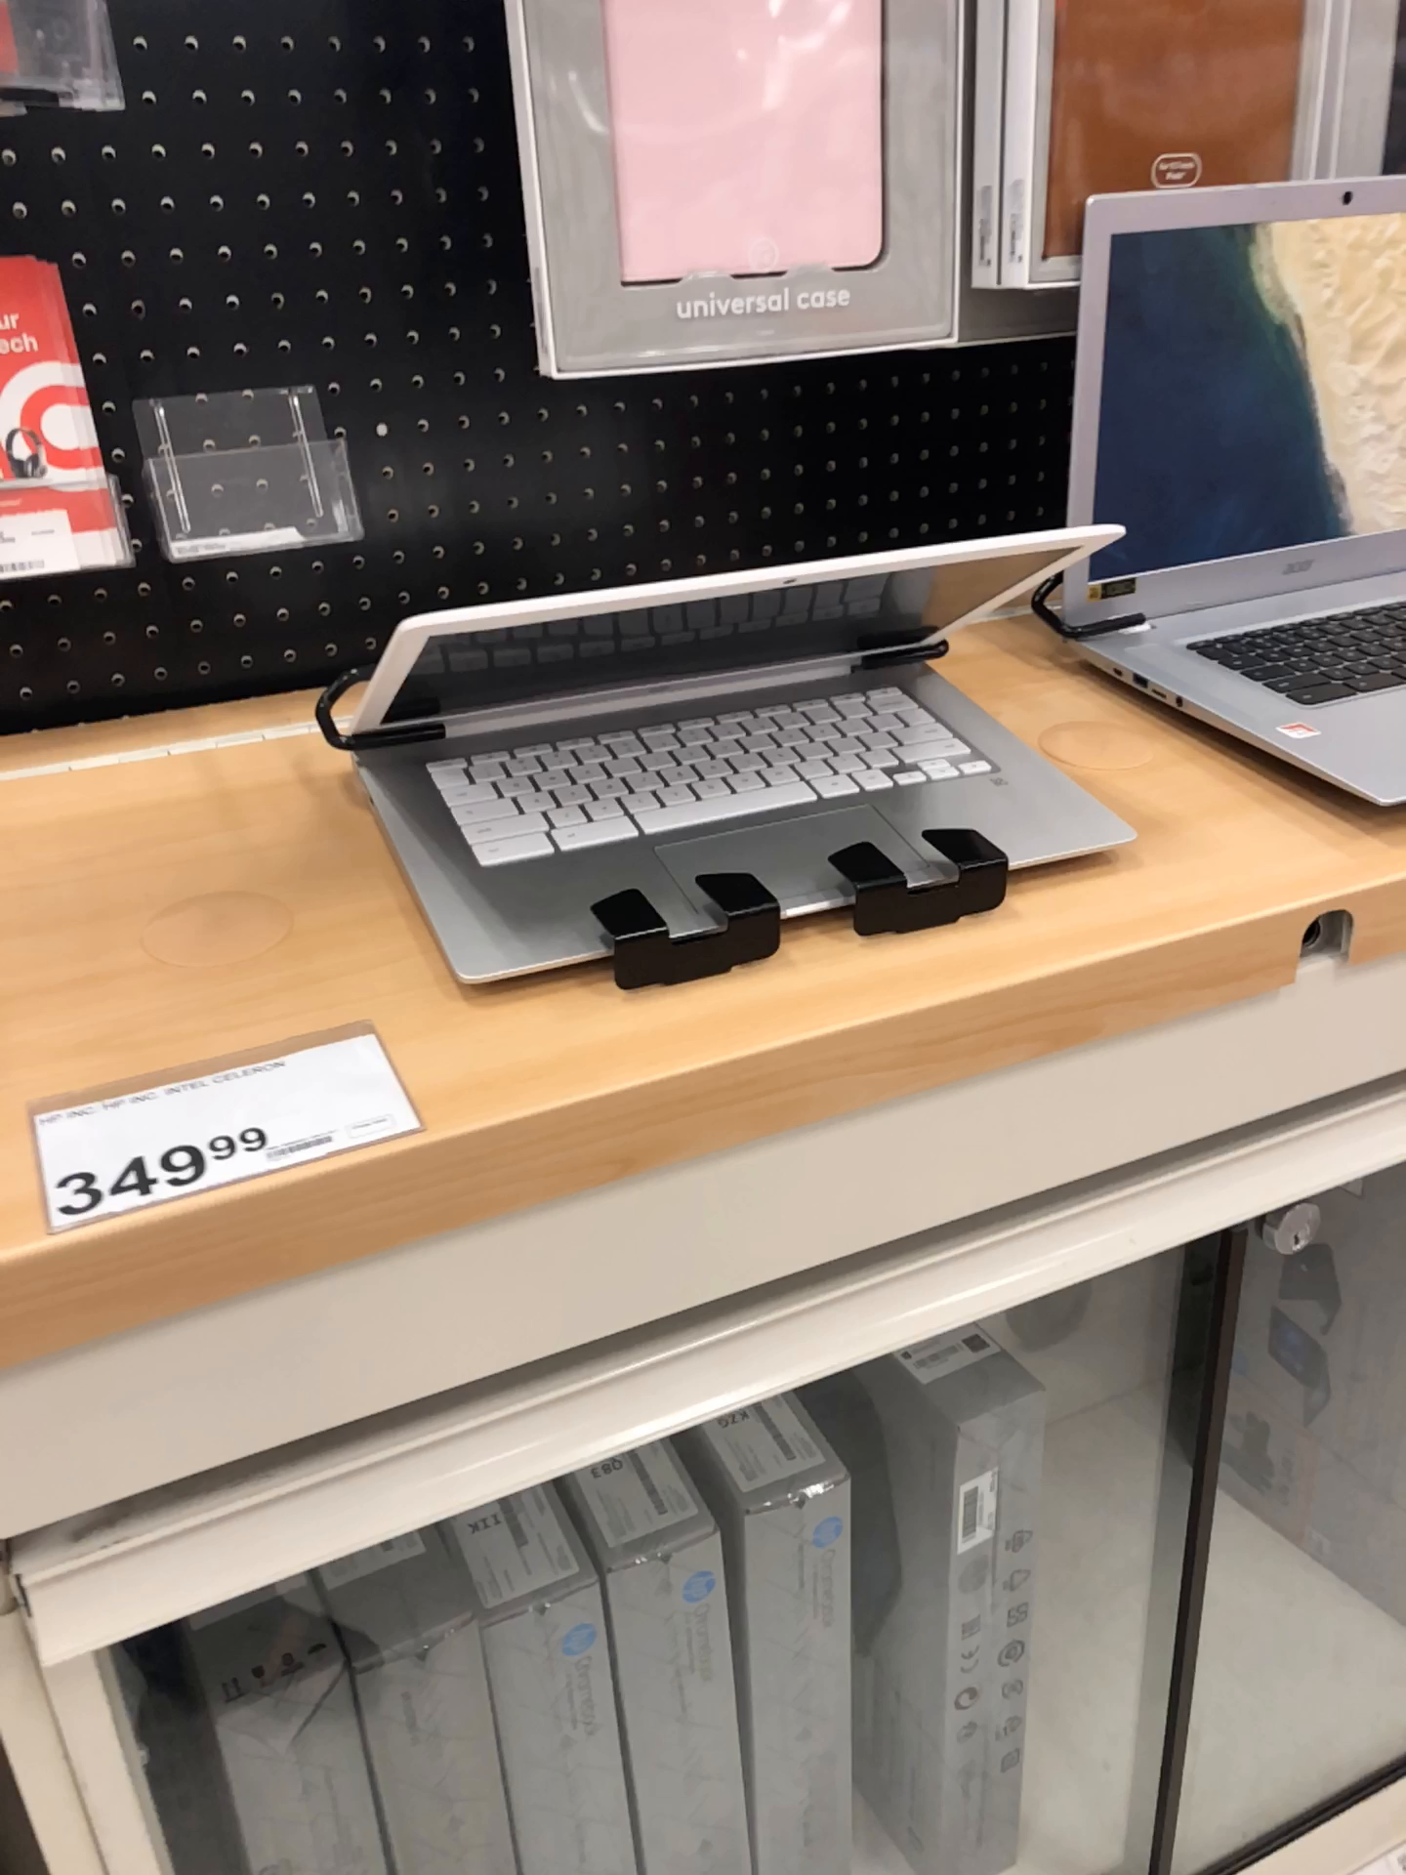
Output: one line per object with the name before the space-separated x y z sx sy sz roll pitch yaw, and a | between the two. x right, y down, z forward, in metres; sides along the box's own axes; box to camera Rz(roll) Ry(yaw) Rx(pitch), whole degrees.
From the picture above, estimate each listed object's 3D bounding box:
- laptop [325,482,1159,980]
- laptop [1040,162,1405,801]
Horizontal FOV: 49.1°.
laptop | 0.013 -0.118 0.738 0.330 0.100 0.216 -12 34 -19
laptop | 0.441 -0.285 0.873 0.388 0.244 0.274 -14 31 -23
